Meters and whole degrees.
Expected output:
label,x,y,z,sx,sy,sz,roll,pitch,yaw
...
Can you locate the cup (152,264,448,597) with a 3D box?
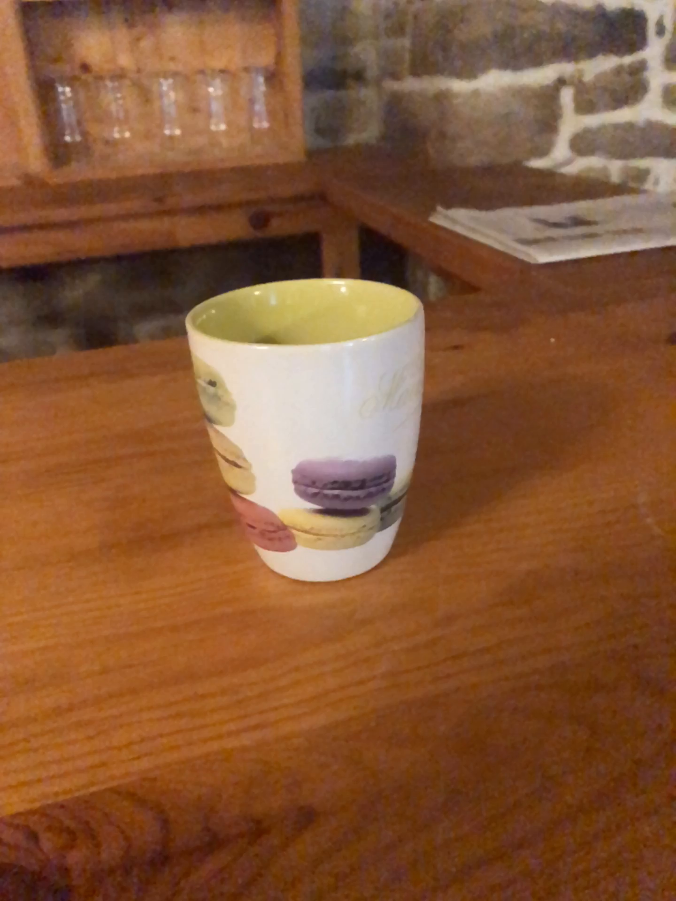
label,x,y,z,sx,sy,sz,roll,pitch,yaw
cup,-0.008,-0.015,0.322,0.097,0.099,0.121,-1,26,3
